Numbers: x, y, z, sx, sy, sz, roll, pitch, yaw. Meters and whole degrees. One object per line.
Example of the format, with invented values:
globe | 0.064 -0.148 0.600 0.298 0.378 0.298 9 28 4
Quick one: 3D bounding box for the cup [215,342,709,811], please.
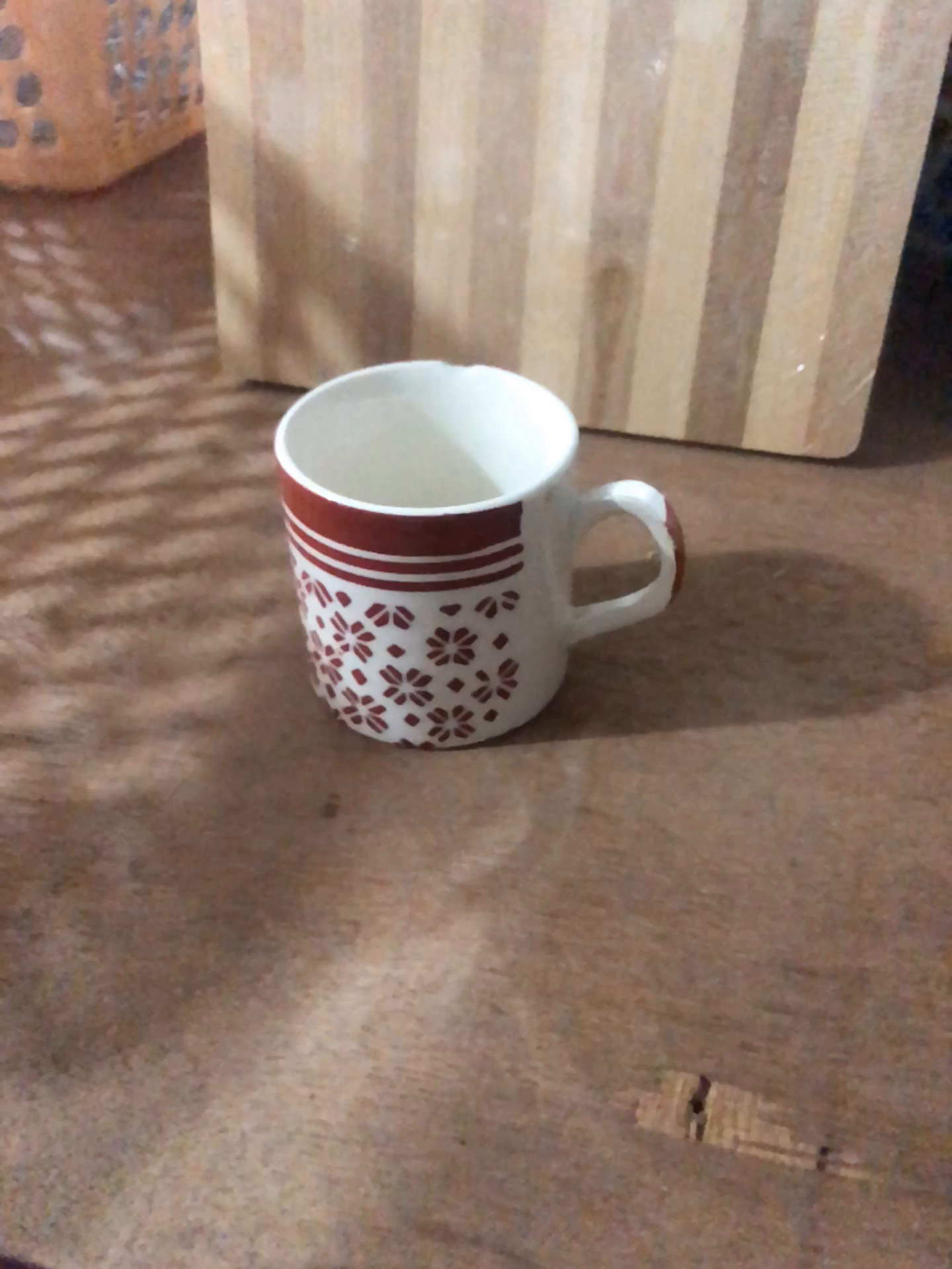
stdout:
cup | 0.002 -0.014 0.240 0.090 0.080 0.060 4 41 8
